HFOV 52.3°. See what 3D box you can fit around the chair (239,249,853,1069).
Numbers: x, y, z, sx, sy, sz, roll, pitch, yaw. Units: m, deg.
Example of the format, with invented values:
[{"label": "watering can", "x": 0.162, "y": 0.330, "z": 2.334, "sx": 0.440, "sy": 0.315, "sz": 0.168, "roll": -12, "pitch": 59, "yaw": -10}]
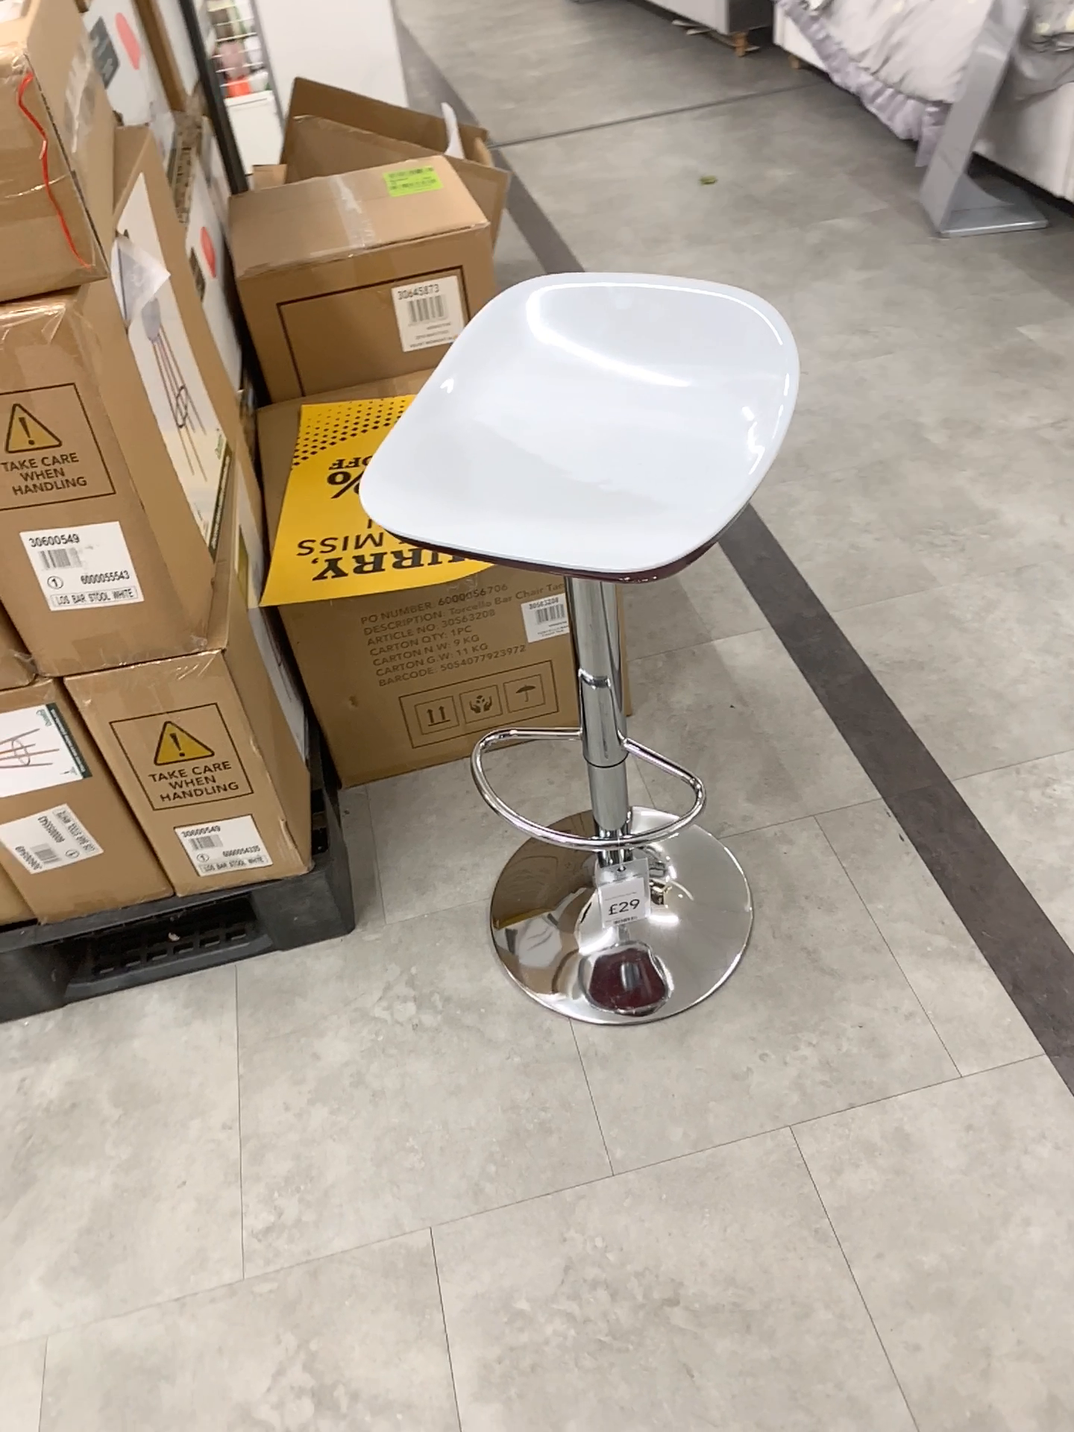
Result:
[{"label": "chair", "x": 0.074, "y": -0.046, "z": 1.263, "sx": 0.436, "sy": 0.792, "sz": 0.437, "roll": 10, "pitch": 46, "yaw": 20}]
